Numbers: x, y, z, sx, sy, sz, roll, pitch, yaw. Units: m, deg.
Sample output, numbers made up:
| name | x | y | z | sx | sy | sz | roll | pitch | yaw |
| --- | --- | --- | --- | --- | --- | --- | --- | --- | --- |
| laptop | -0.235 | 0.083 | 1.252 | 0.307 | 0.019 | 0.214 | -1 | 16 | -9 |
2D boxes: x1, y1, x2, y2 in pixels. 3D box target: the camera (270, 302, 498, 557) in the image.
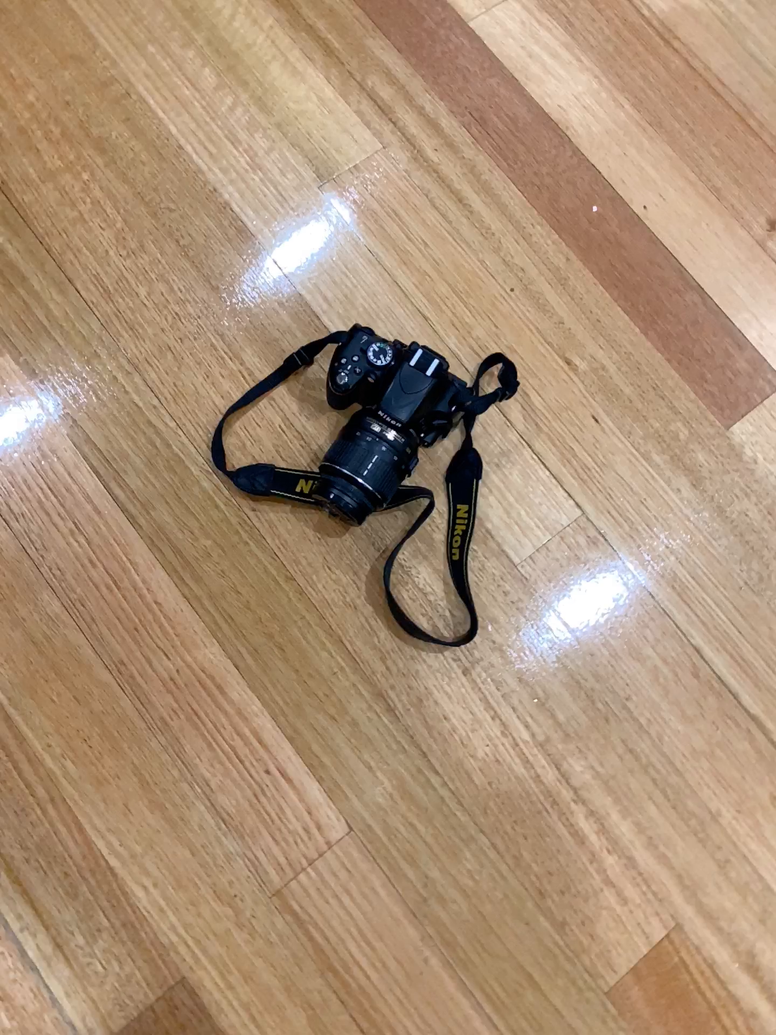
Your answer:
| name | x | y | z | sx | sy | sz | roll | pitch | yaw |
| --- | --- | --- | --- | --- | --- | --- | --- | --- | --- |
| camera | -0.005 | -0.074 | 0.707 | 0.130 | 0.100 | 0.160 | 28 | 76 | 2 |
